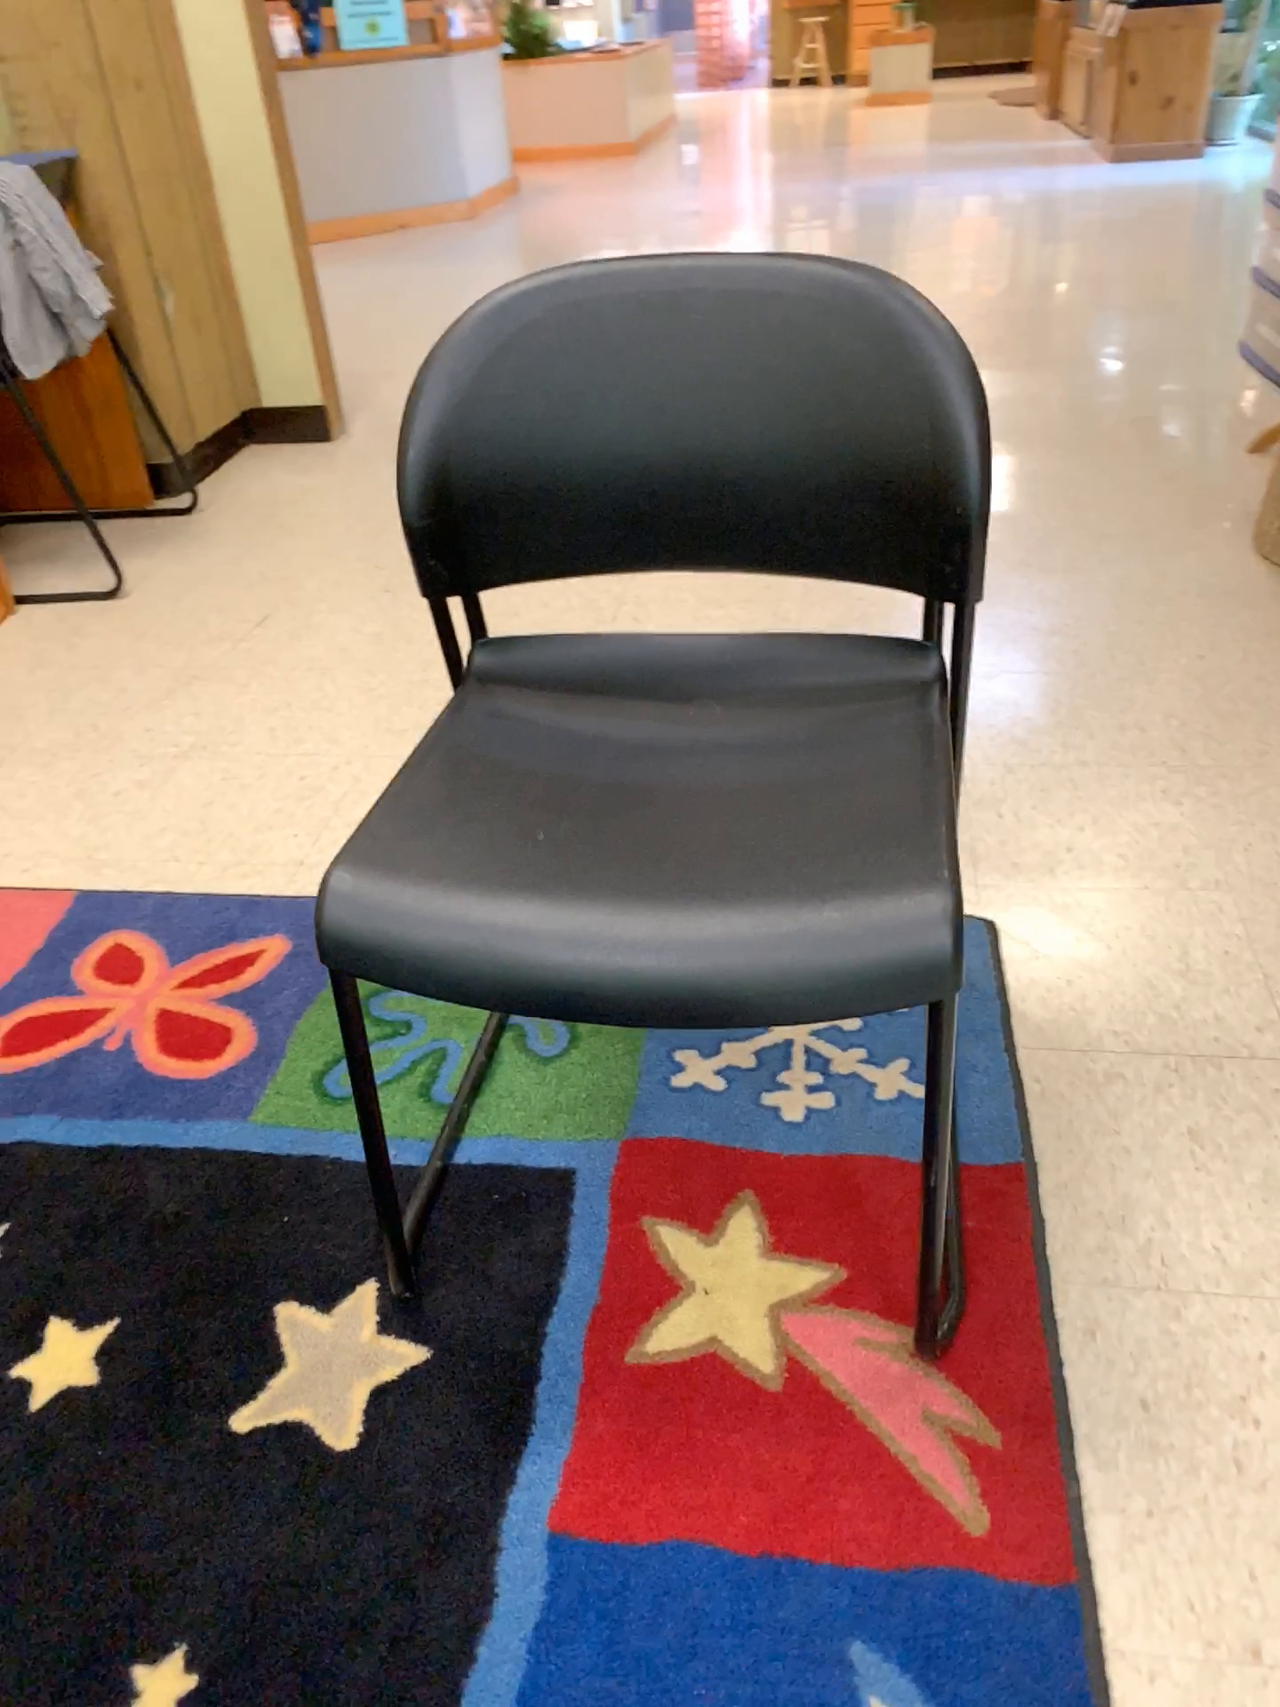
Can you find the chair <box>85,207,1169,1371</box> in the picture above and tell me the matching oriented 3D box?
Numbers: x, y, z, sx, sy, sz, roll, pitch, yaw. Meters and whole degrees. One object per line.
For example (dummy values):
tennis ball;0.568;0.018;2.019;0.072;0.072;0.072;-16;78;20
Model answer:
chair;0.036;-0.063;1.110;0.570;0.785;0.533;1;33;9
